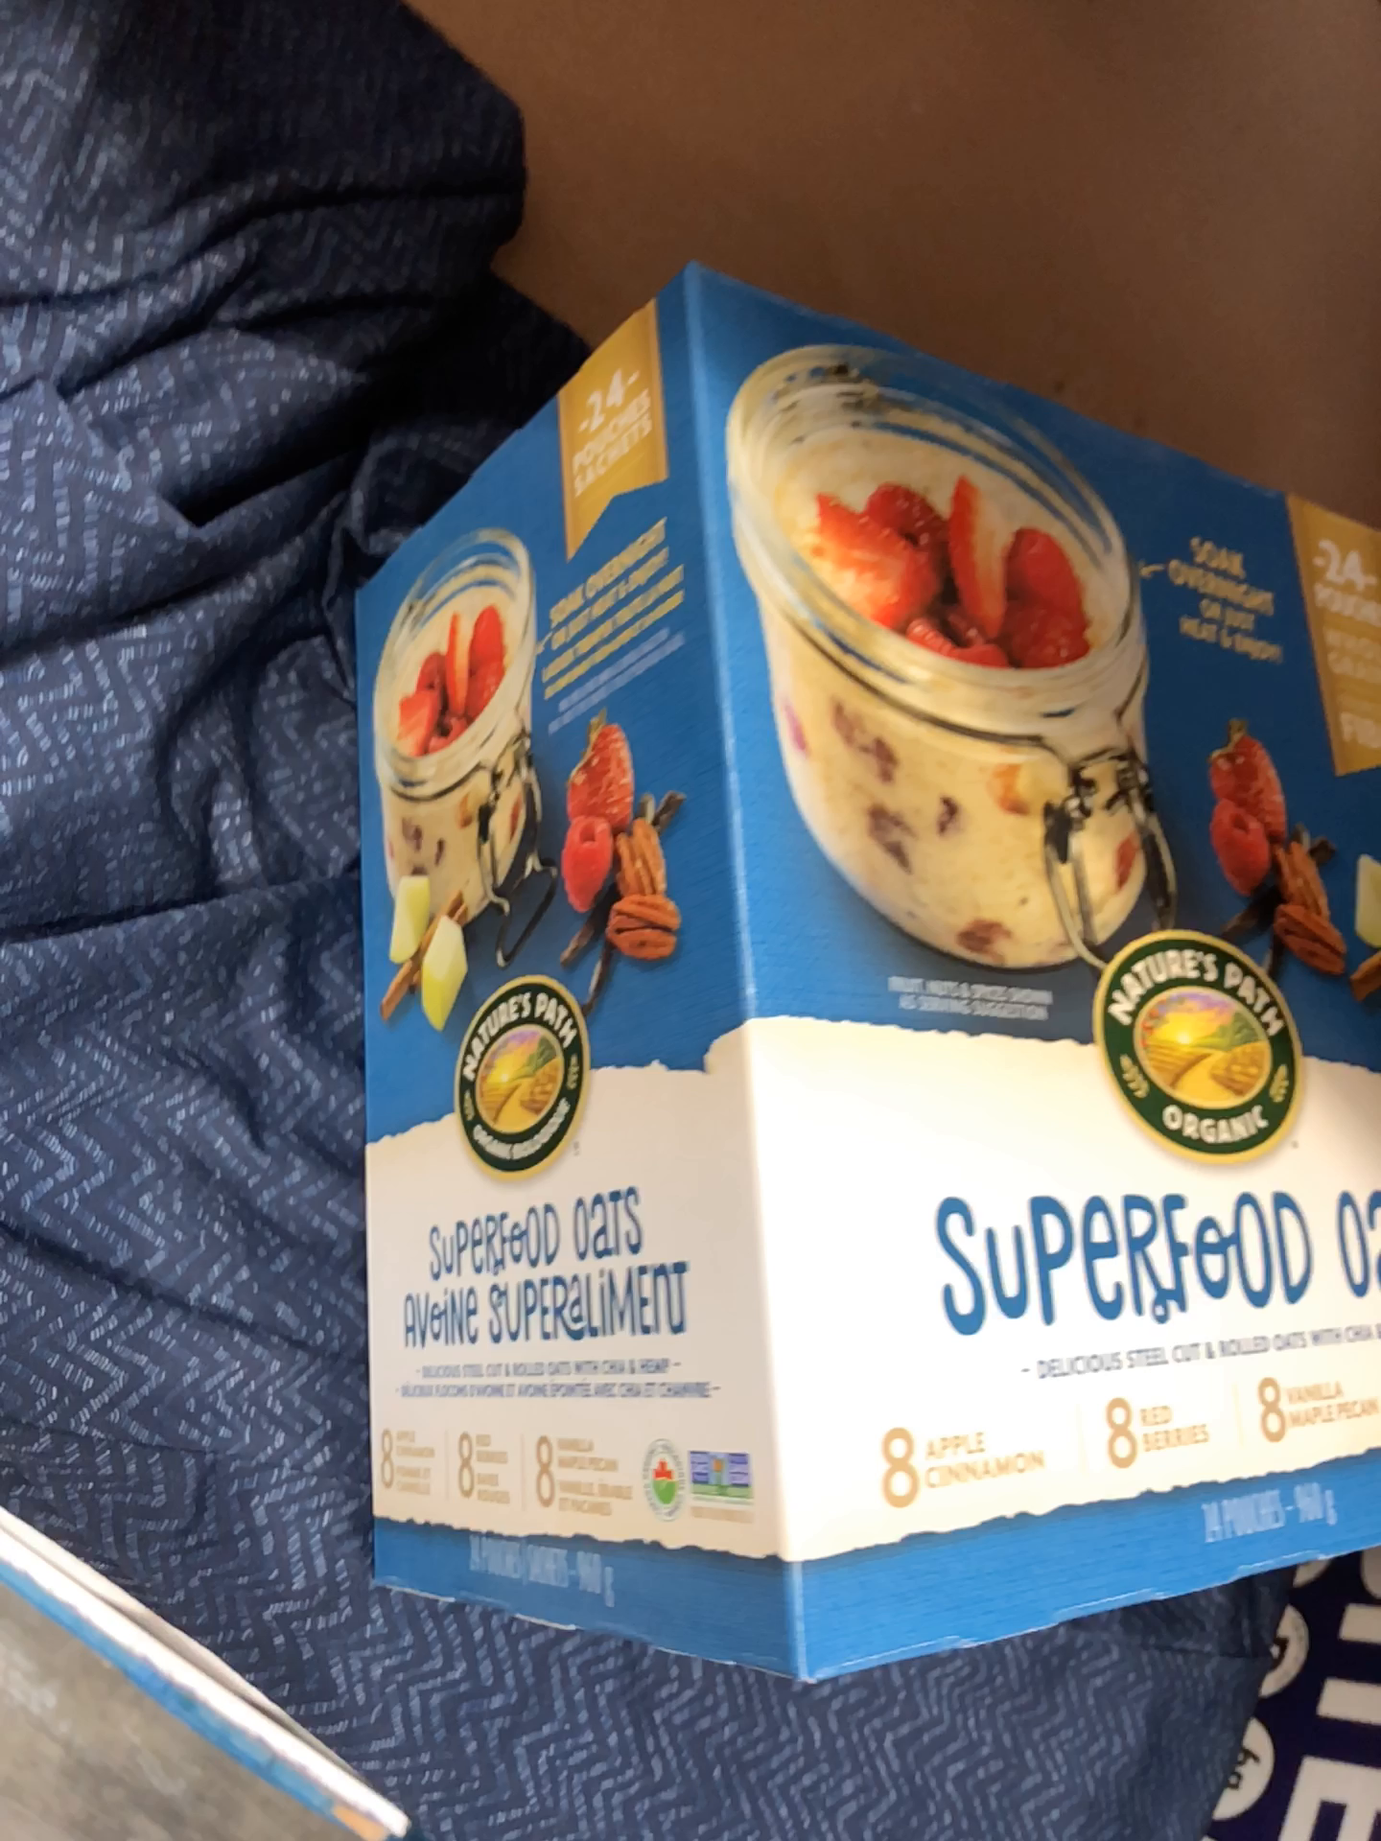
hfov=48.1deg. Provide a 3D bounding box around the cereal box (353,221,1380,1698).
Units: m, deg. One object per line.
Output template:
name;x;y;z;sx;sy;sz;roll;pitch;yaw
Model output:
cereal box;0.069;0.021;0.375;0.251;0.149;0.240;6;72;-35
